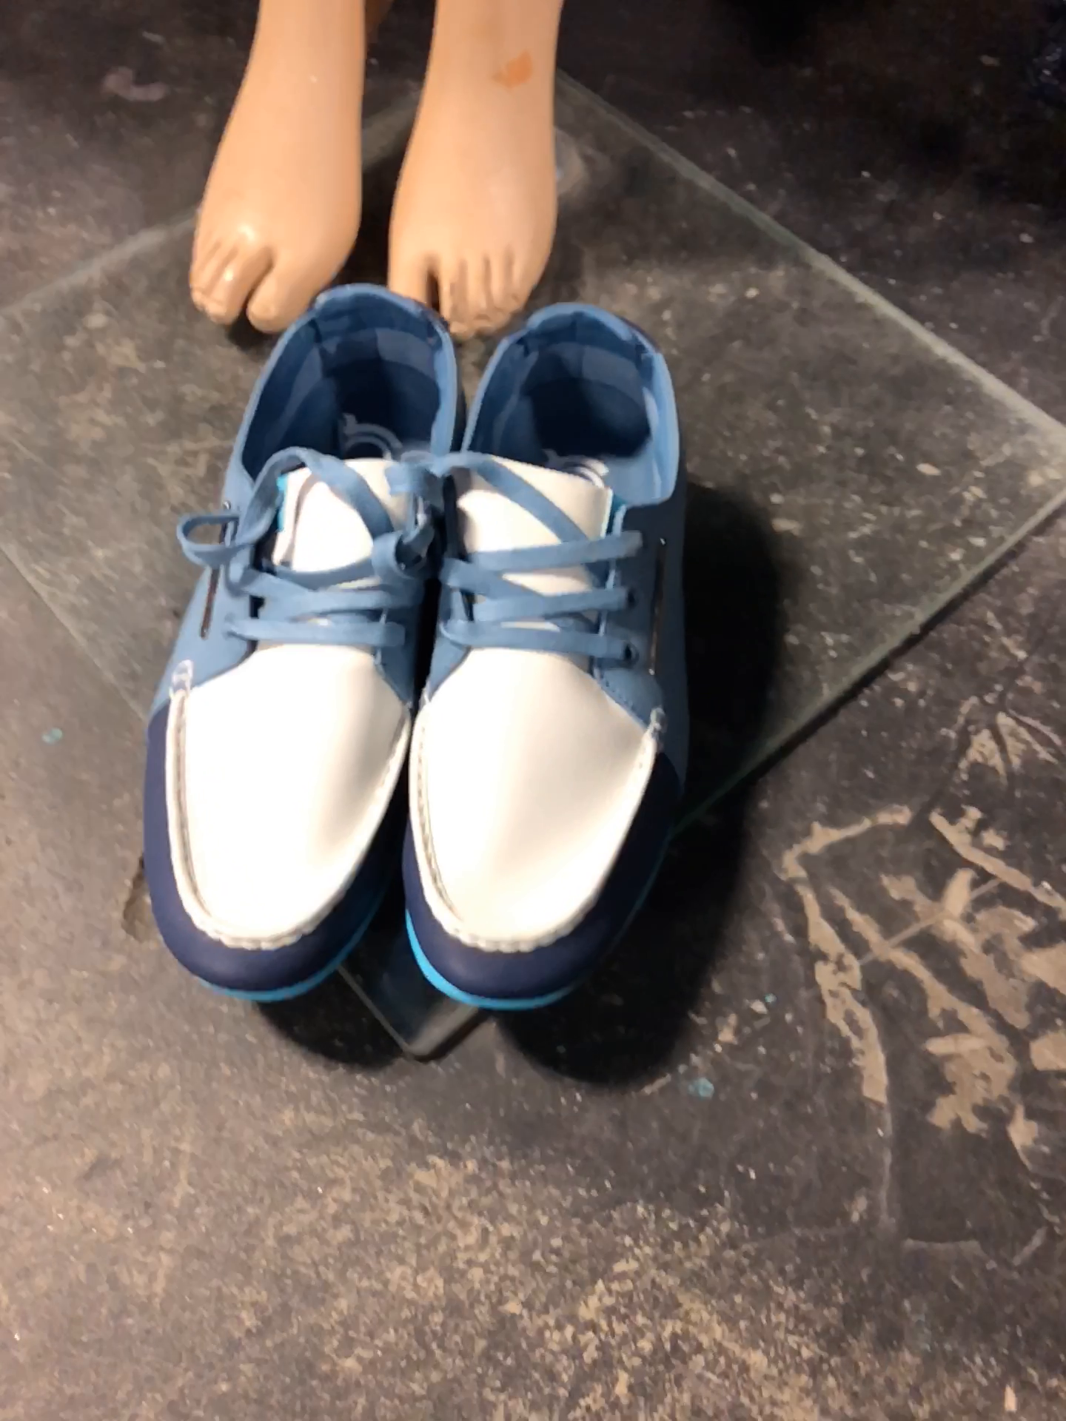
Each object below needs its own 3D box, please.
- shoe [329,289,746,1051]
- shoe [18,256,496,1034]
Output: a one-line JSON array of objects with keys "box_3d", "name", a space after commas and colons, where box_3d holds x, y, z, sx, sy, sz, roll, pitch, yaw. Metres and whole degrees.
[{"box_3d": [0.013, -0.022, 0.427, 0.100, 0.099, 0.251, 7, 61, 5], "name": "shoe"}, {"box_3d": [-0.079, -0.031, 0.430, 0.090, 0.099, 0.261, 8, 61, 3], "name": "shoe"}]
